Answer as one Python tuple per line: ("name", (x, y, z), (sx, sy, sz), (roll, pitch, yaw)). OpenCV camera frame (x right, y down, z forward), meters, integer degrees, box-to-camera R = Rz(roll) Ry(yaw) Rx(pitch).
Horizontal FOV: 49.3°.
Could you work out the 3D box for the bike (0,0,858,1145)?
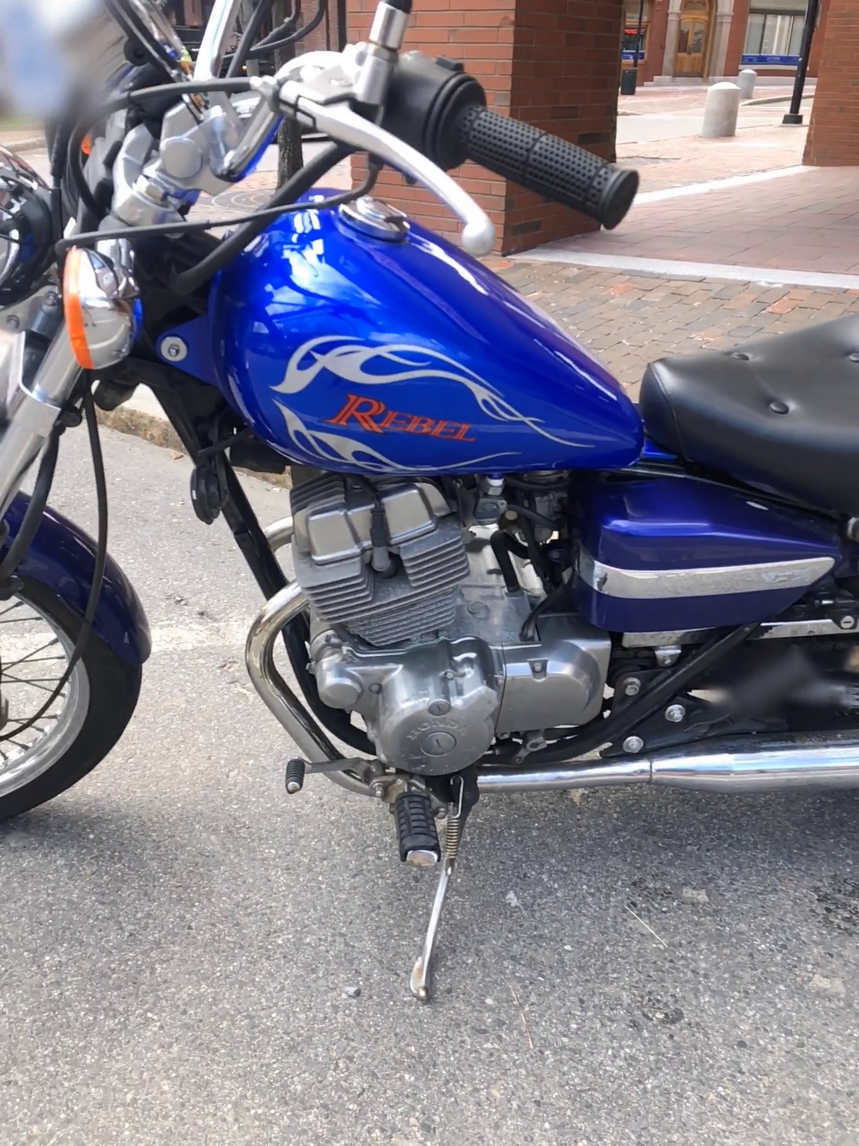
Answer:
("bike", (0.150, -0.025, 0.893), (2.026, 1.178, 0.930), (-3, 28, -14))
